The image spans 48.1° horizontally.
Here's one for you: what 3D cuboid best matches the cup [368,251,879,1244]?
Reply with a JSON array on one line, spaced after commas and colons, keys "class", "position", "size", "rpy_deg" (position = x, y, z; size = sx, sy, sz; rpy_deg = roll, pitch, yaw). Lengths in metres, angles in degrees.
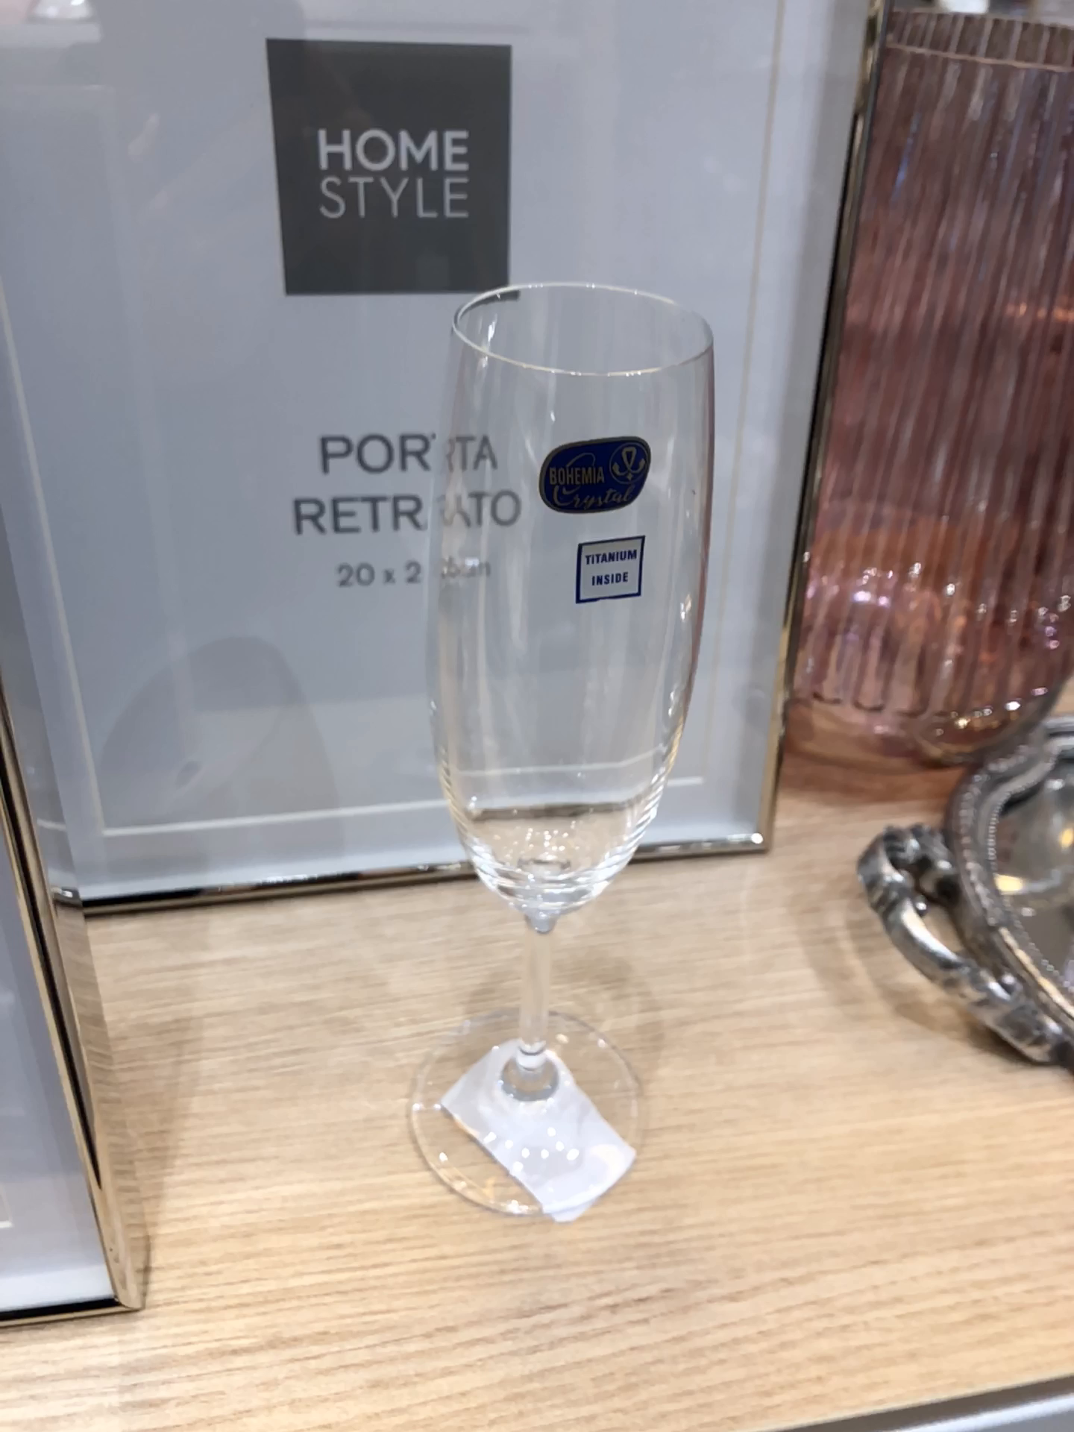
[{"class": "cup", "position": [0.006, 0.019, 0.270], "size": [0.070, 0.218, 0.070], "rpy_deg": [2, 36, -2]}]
